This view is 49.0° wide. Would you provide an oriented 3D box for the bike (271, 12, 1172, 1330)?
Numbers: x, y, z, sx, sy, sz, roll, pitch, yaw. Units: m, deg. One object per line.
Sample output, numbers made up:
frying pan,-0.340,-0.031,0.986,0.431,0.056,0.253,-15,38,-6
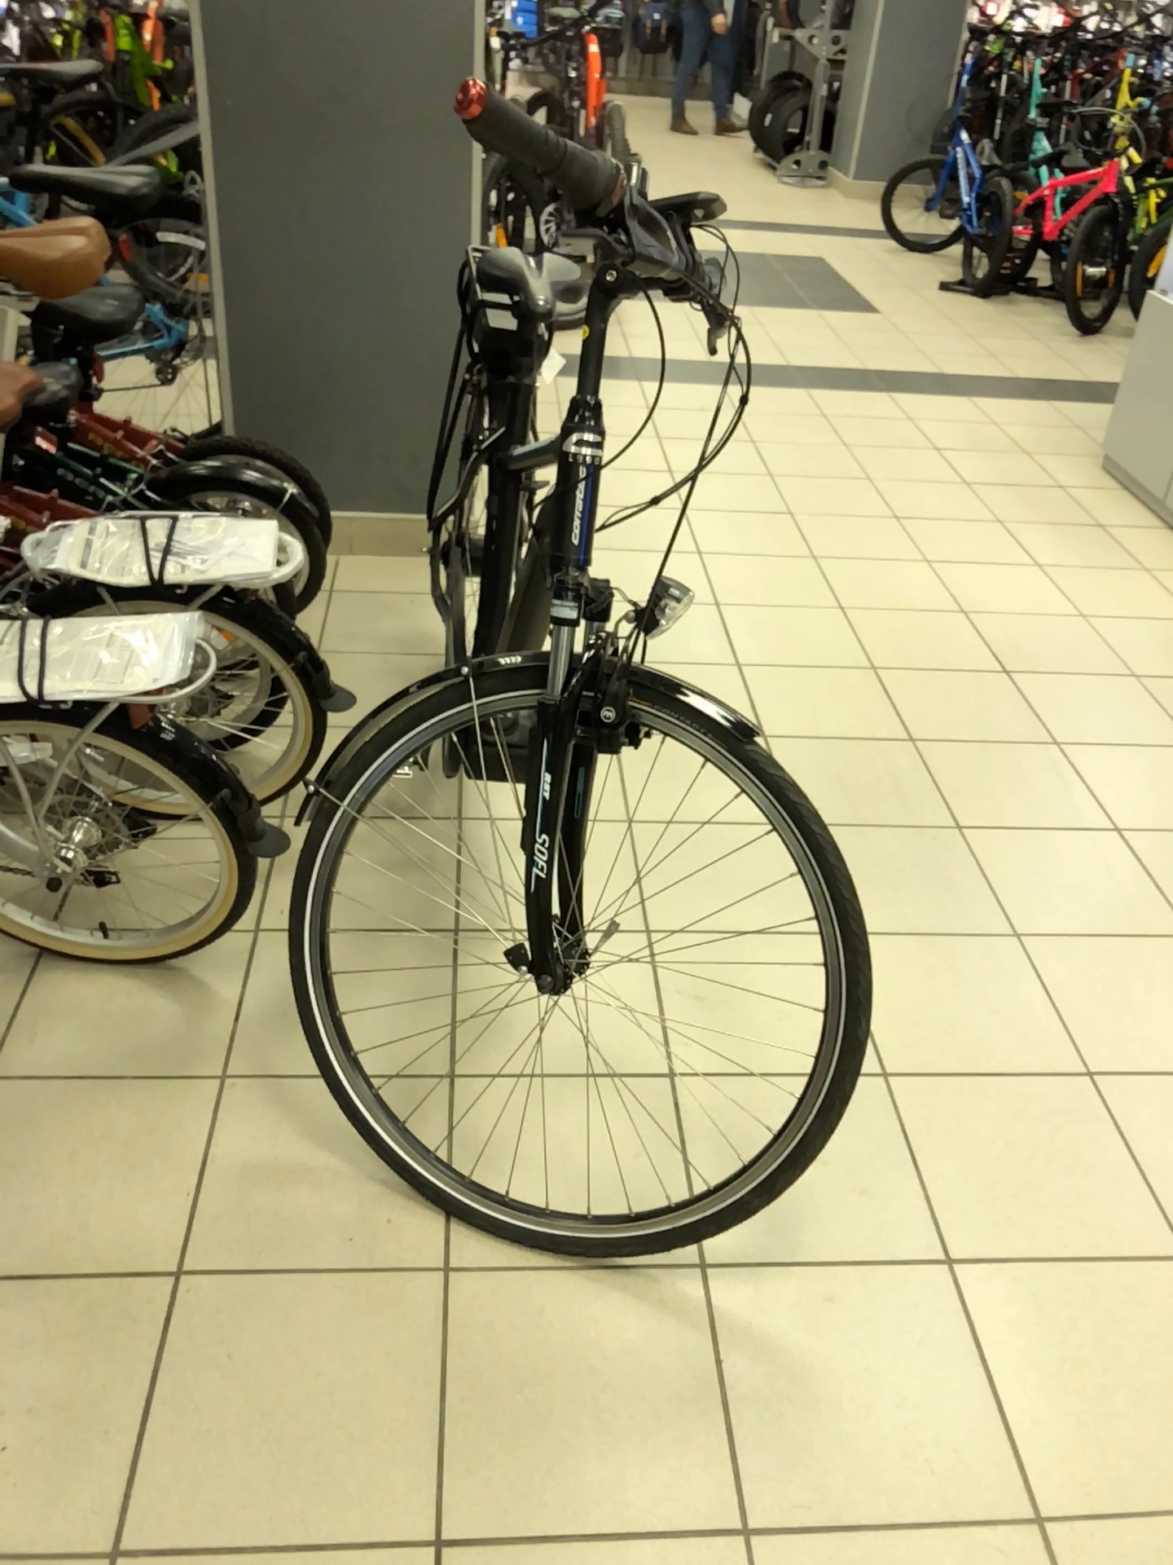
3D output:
bike,0.034,-0.341,1.909,0.696,1.176,1.619,-7,36,-18
